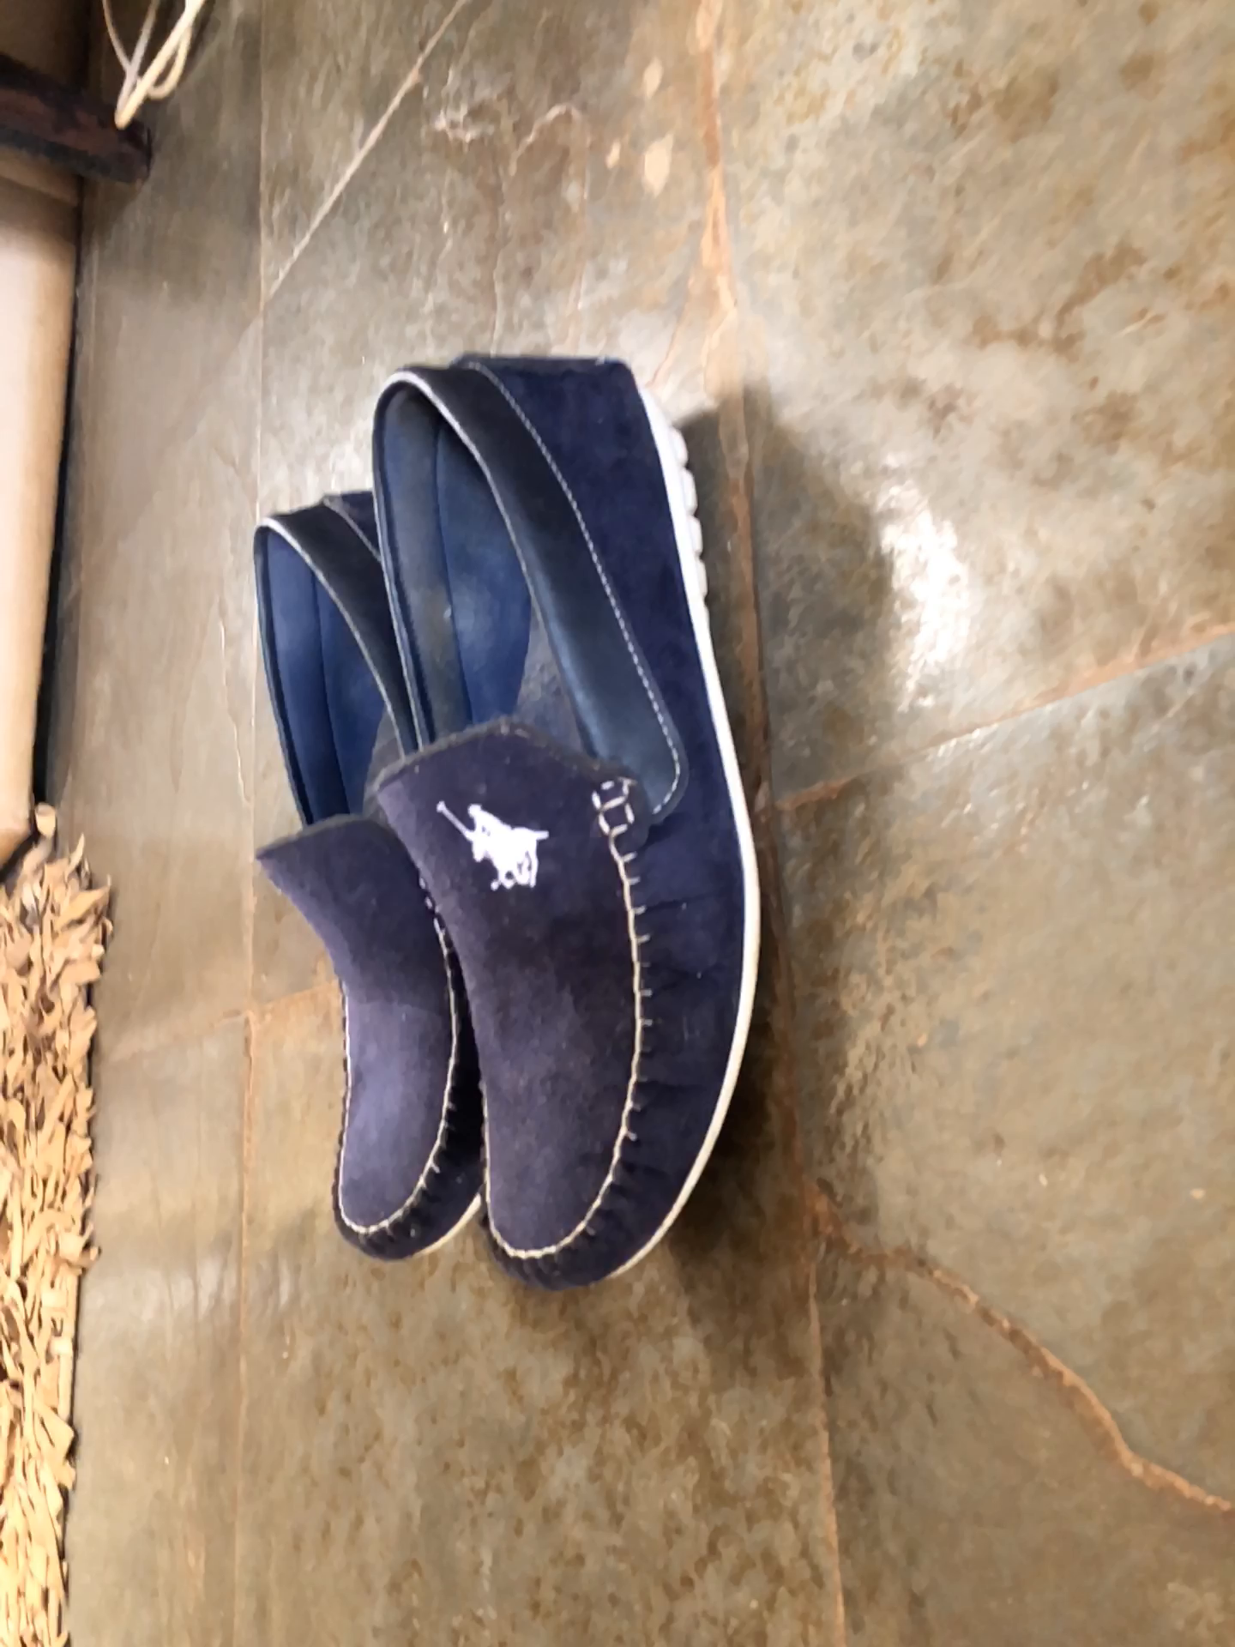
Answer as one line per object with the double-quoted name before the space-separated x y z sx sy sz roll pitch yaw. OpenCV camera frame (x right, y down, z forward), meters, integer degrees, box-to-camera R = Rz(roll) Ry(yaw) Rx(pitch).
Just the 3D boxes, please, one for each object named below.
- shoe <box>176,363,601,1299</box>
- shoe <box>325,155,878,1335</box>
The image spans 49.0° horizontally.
"shoe" -0.075 0.007 0.431 0.100 0.090 0.260 -22 66 53
"shoe" -0.012 -0.015 0.351 0.100 0.090 0.260 -22 66 53
